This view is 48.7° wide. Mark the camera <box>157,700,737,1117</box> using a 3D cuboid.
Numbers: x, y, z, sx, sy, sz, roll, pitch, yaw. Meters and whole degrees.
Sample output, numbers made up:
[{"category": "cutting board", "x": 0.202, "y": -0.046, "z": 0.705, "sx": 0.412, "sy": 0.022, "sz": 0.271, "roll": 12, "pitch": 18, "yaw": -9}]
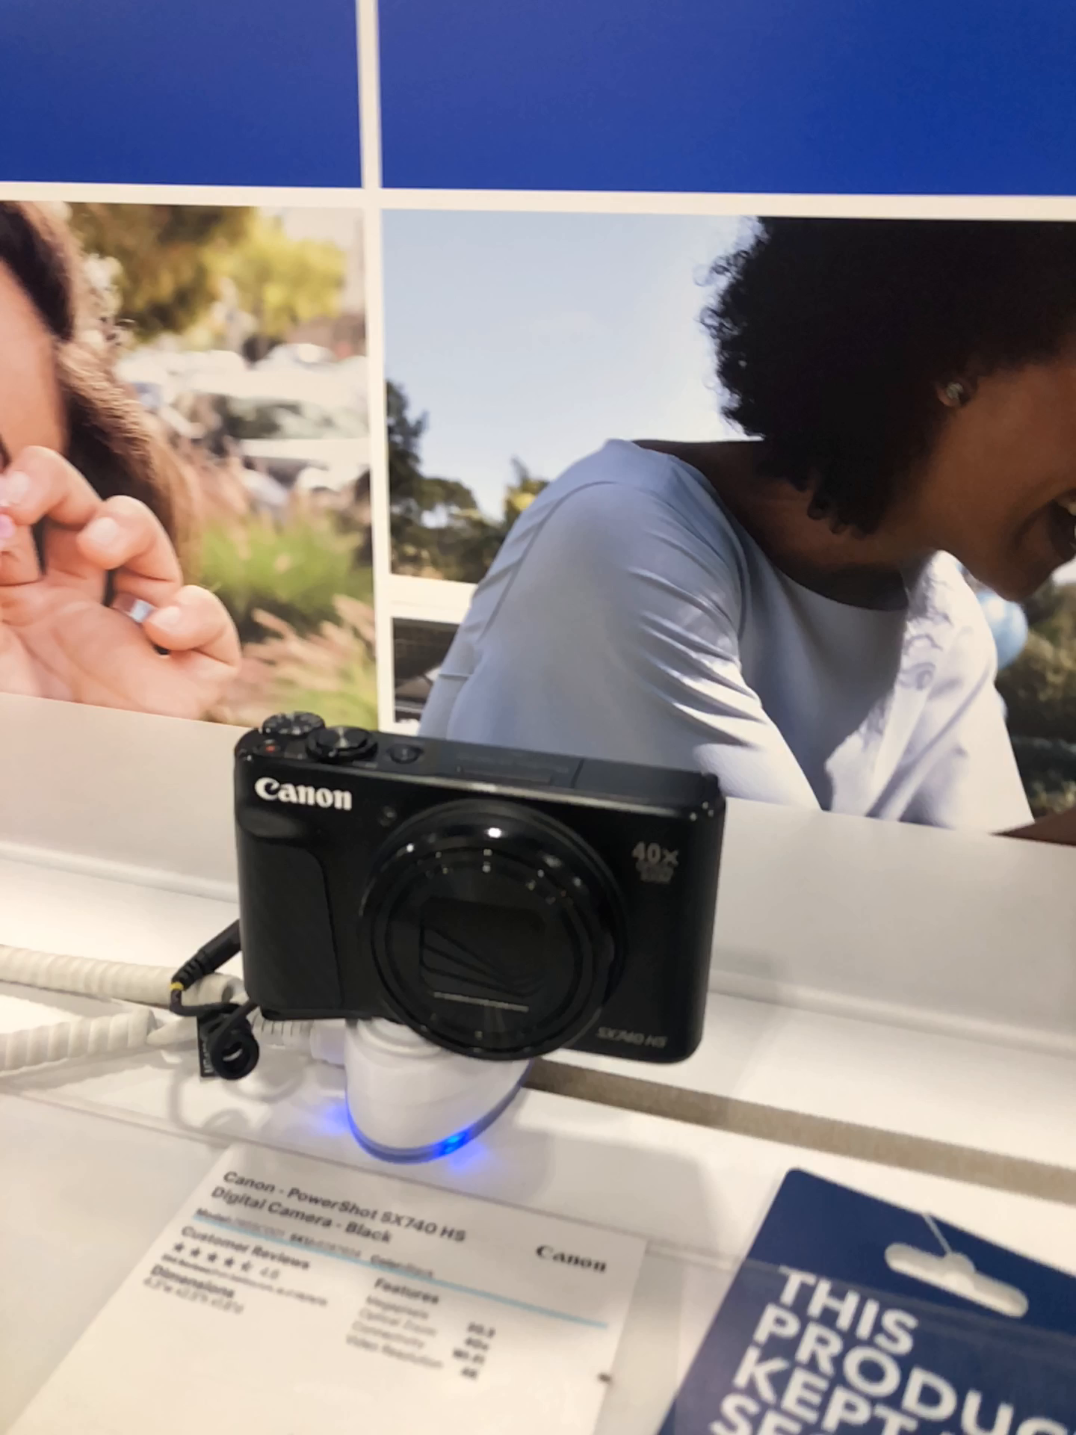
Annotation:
[{"category": "camera", "x": -0.019, "y": 0.041, "z": 0.271, "sx": 0.120, "sy": 0.070, "sz": 0.040, "roll": 5, "pitch": 21, "yaw": 10}]
